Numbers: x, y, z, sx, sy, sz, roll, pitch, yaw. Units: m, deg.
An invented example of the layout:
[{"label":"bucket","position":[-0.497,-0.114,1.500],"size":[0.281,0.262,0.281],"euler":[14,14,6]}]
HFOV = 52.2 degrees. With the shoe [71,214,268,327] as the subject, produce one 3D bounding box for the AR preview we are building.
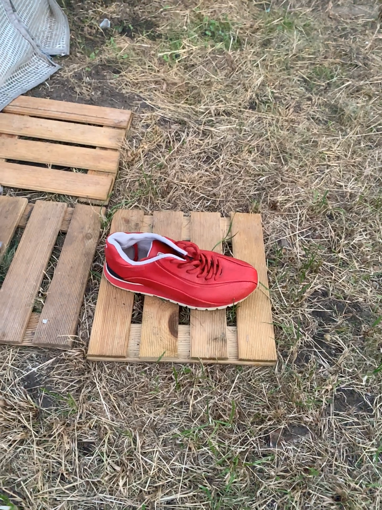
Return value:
[{"label":"shoe","position":[-0.026,0.025,0.635],"size":[0.280,0.129,0.101],"euler":[6,55,8]}]
